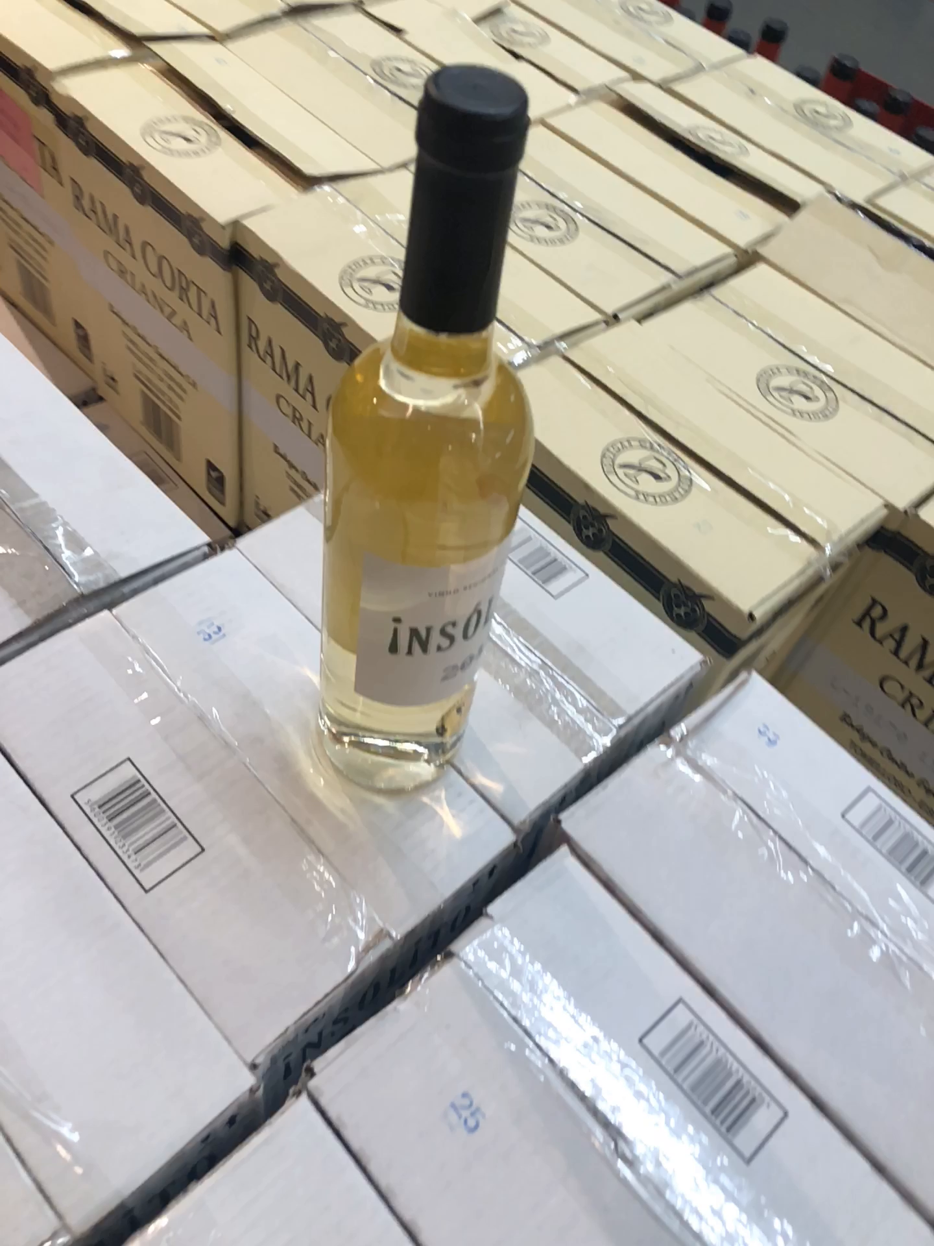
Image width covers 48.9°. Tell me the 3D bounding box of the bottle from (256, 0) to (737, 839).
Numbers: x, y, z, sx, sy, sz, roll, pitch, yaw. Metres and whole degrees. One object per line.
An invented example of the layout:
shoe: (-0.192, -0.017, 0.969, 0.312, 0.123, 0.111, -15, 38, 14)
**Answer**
bottle: (-0.013, -0.045, 0.384, 0.090, 0.298, 0.090, 6, 51, -7)
